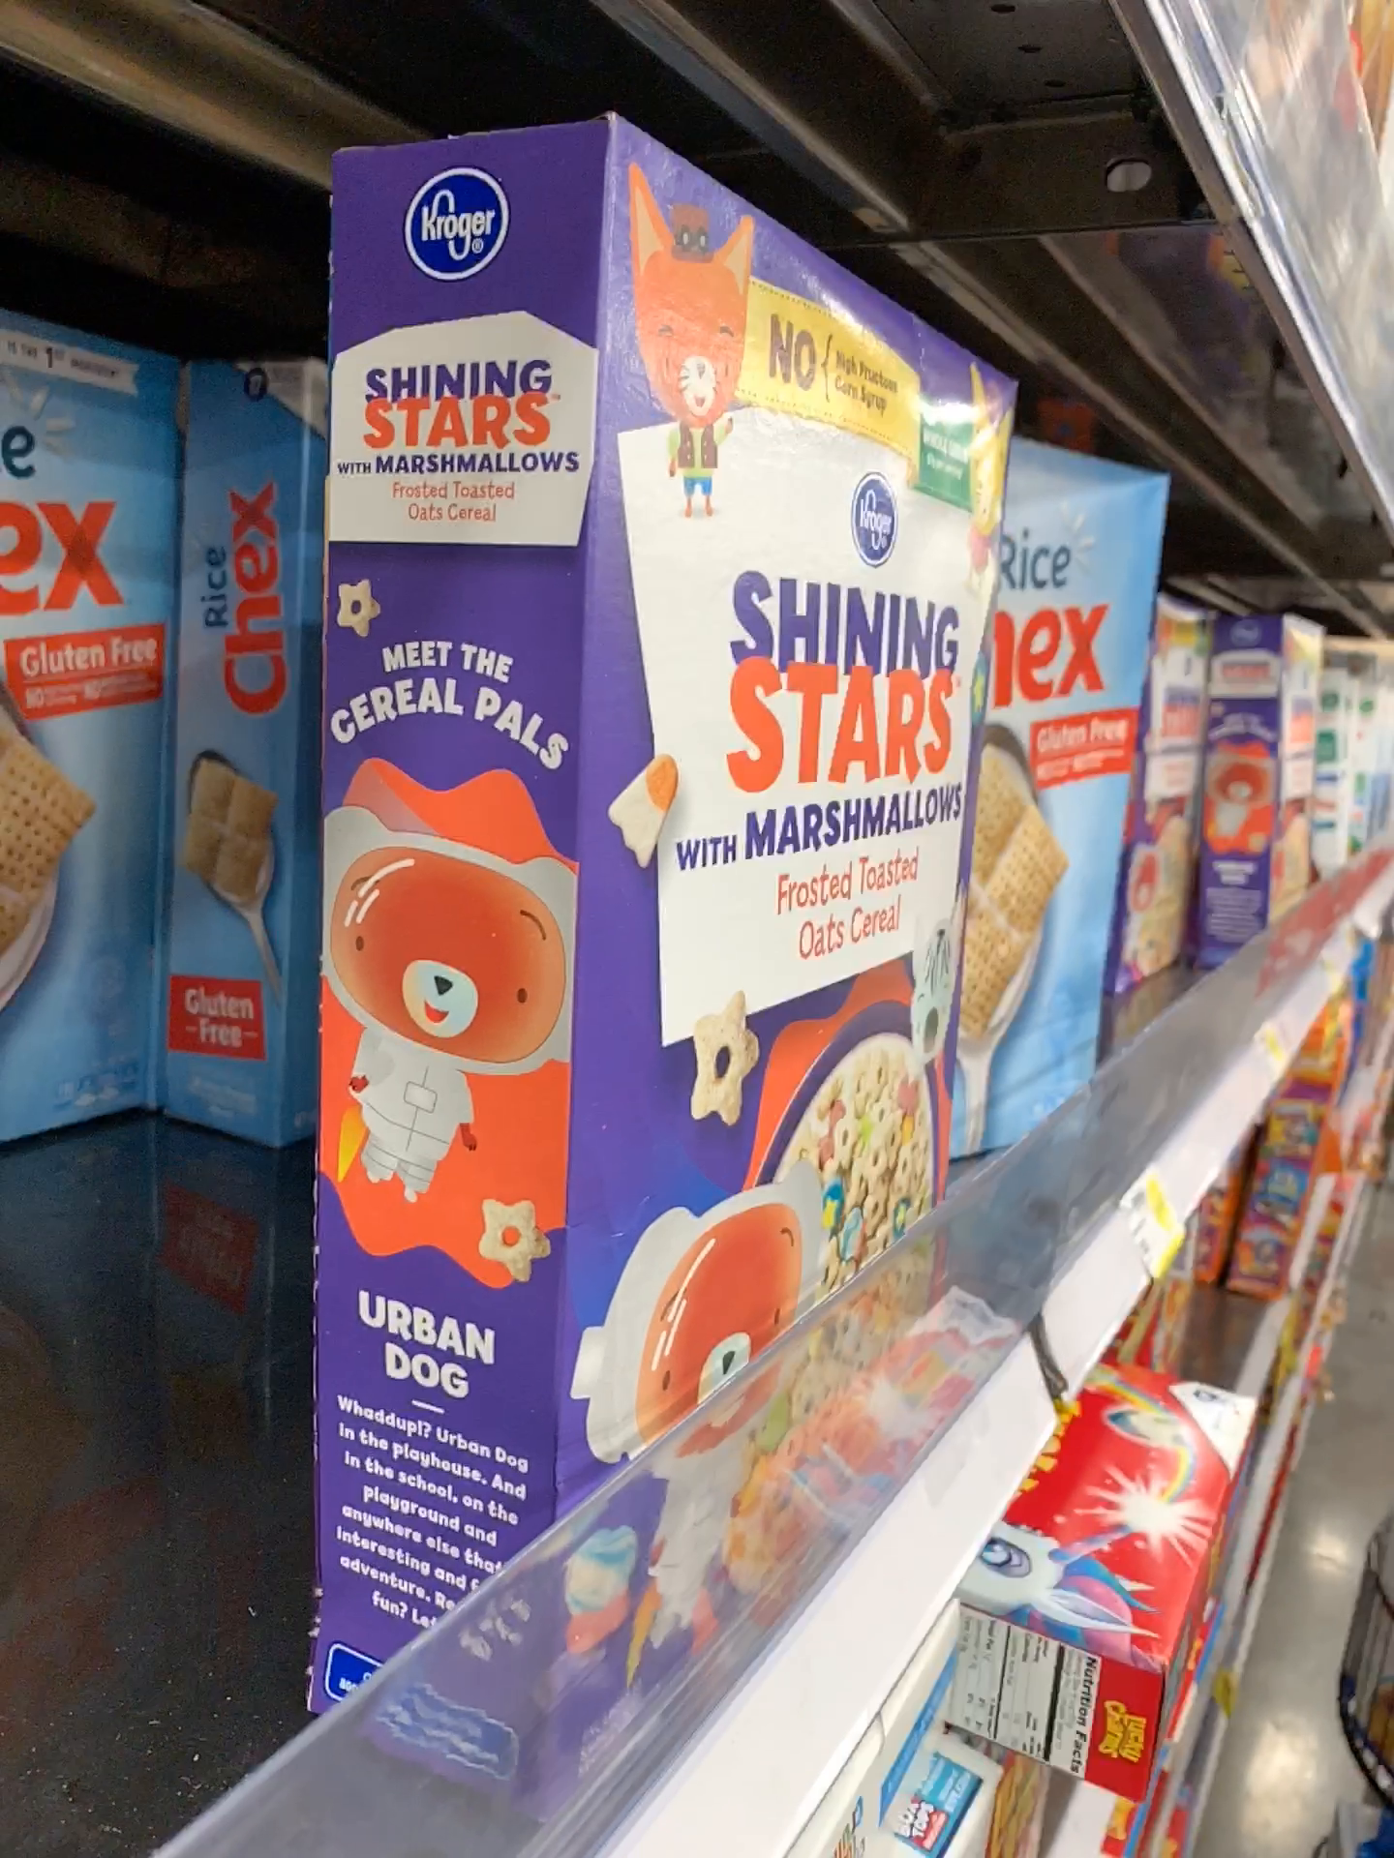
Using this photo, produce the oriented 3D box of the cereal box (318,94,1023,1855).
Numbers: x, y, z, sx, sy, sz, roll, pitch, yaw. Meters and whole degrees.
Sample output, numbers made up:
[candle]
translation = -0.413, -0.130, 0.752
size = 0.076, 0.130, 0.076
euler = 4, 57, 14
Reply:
[cereal box]
translation = 0.007, 0.004, 0.316
size = 0.050, 0.269, 0.200
euler = 8, 11, 27
